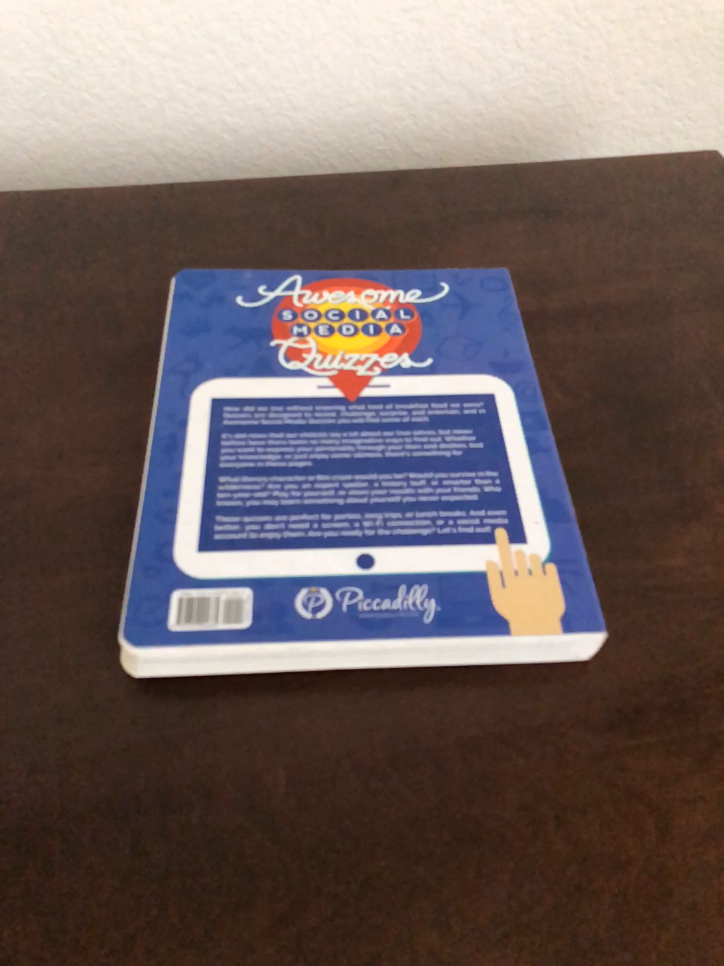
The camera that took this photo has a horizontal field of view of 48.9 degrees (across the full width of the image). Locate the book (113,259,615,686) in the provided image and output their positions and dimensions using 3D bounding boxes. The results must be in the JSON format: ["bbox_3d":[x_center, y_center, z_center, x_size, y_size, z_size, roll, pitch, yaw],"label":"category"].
[{"bbox_3d":[-0.003,-0.019,0.335,0.166,0.030,0.201,-1,52,-4],"label":"book"}]
